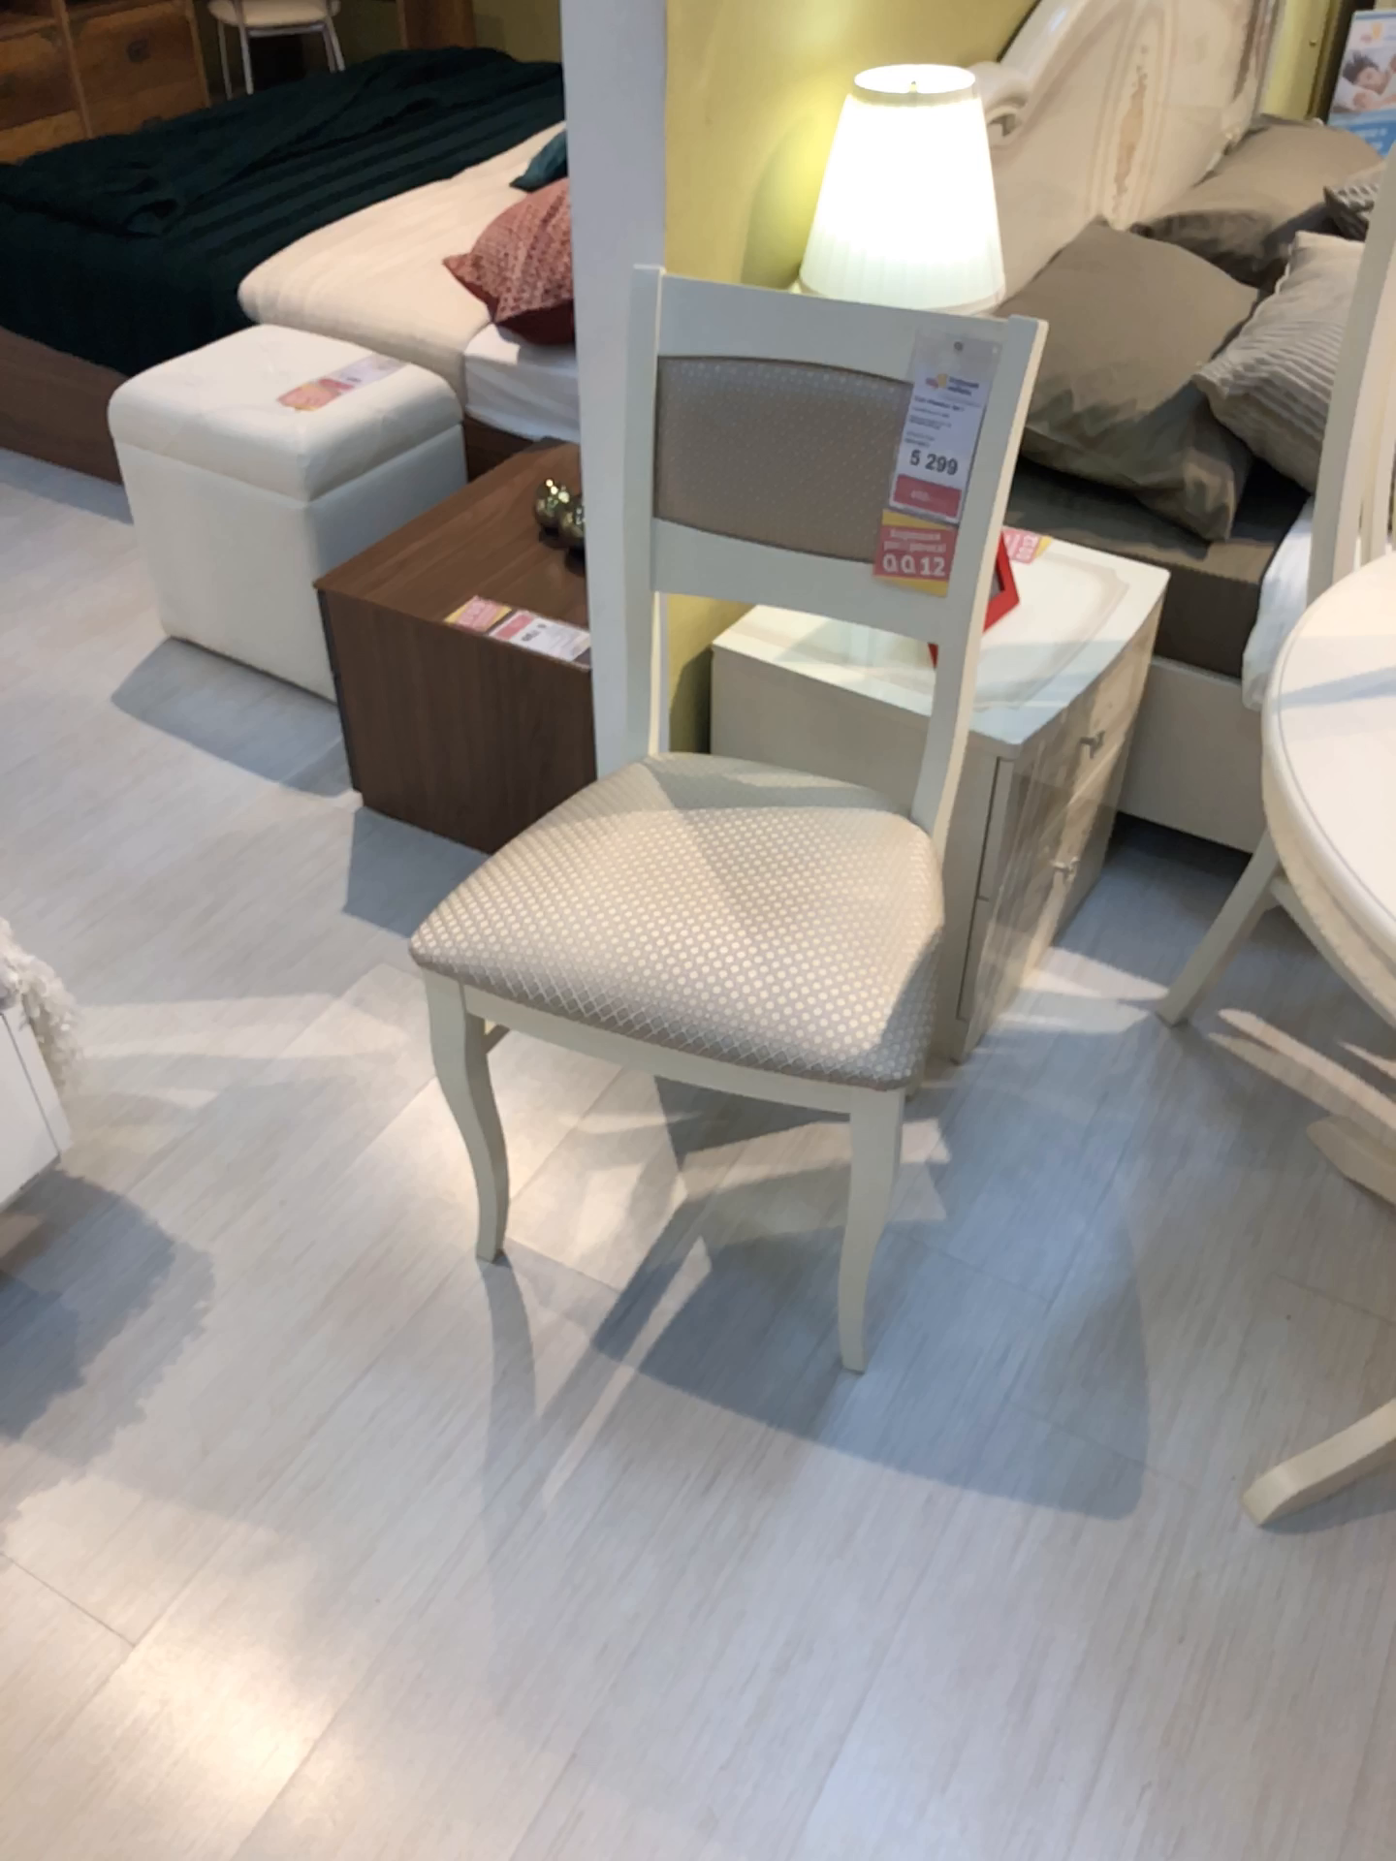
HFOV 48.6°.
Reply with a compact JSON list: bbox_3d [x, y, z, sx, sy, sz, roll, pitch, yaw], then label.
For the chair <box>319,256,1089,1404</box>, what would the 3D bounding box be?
[{"bbox_3d":[0.032,-0.072,1.514,0.470,0.946,0.474,13,42,15],"label":"chair"}]
